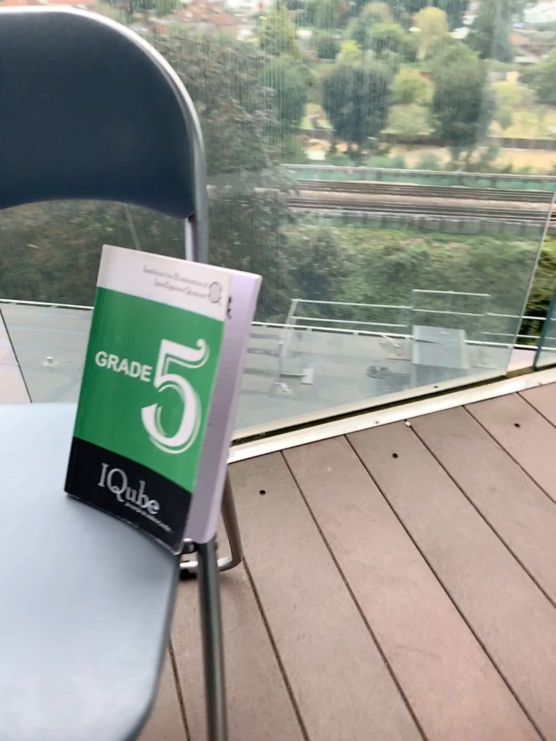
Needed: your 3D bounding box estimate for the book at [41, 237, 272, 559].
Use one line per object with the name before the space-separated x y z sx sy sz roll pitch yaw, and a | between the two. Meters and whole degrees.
book | -0.100 0.014 0.444 0.150 0.210 0.040 15 6 28
